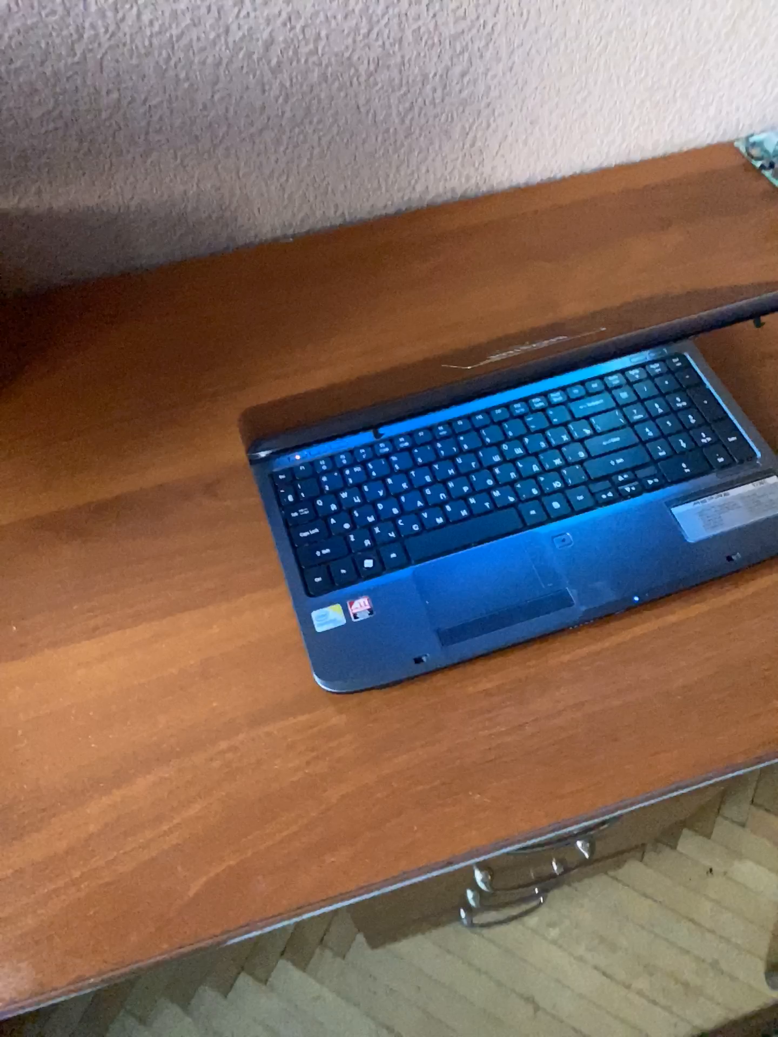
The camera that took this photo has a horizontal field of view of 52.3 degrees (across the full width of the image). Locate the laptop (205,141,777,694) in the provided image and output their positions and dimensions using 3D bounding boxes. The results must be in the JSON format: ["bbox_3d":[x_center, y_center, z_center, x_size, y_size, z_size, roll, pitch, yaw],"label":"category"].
[{"bbox_3d":[0.099,-0.077,0.554,0.380,0.163,0.241,-17,58,-7],"label":"laptop"}]
